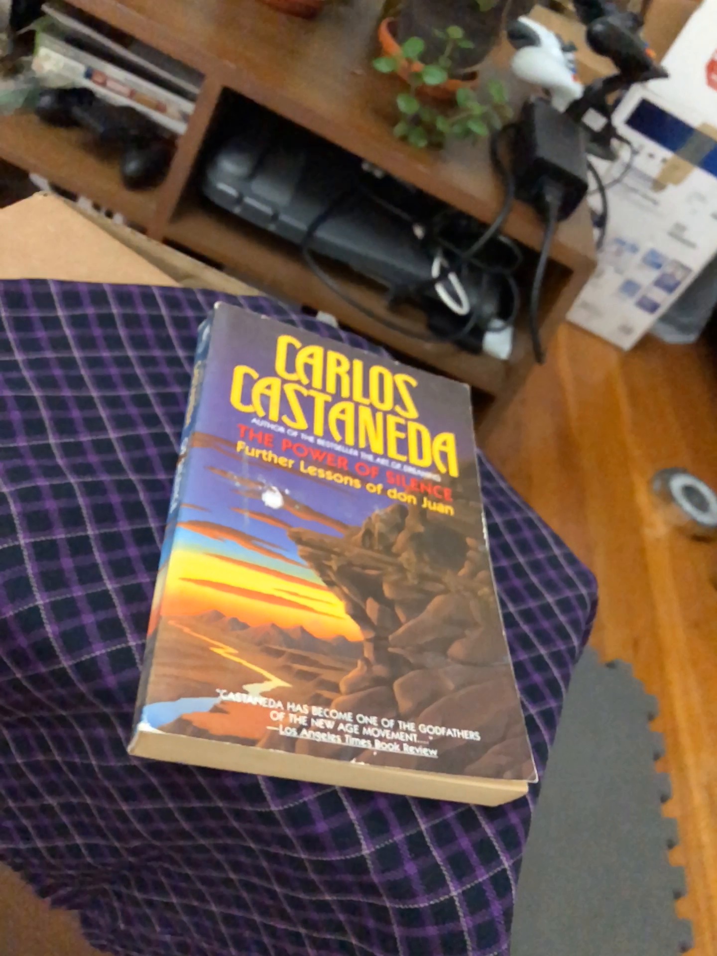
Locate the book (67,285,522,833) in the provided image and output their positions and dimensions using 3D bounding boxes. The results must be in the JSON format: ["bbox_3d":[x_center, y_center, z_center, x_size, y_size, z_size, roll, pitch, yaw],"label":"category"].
[{"bbox_3d":[-0.015,0.019,0.333,0.150,0.020,0.221,17,46,-18],"label":"book"}]
